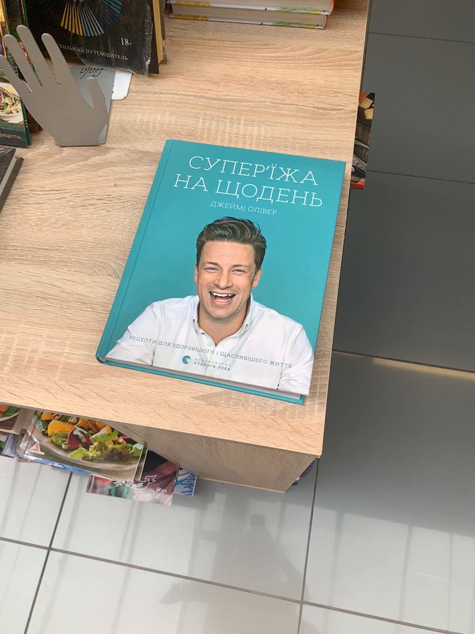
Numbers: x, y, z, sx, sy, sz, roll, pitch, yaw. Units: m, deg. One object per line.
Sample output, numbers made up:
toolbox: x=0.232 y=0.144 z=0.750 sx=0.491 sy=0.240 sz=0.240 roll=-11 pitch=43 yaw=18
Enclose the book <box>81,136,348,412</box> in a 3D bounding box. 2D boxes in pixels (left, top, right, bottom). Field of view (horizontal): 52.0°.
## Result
book: x=-0.012 y=-0.055 z=0.475 sx=0.200 sy=0.030 sz=0.255 roll=10 pitch=68 yaw=8
